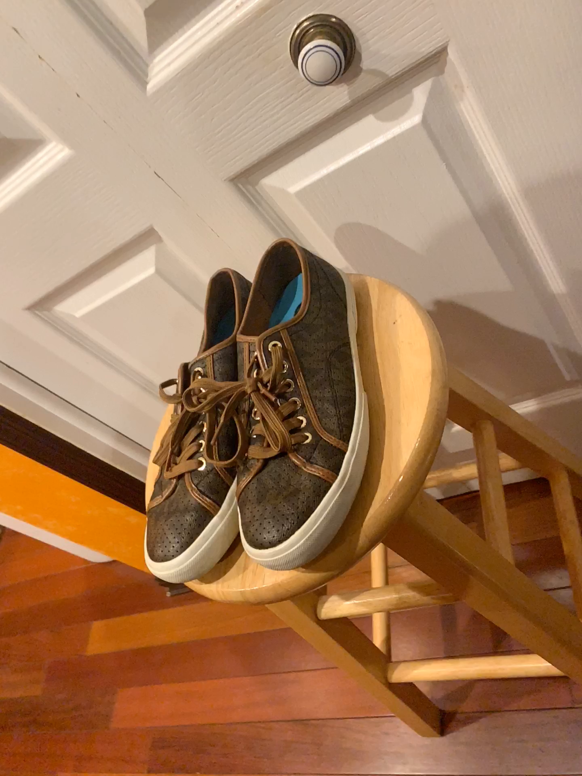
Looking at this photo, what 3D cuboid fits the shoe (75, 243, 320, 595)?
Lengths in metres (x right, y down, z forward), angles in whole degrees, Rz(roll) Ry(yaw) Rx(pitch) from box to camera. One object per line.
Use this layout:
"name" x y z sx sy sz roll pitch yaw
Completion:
"shoe" -0.064 0.022 0.489 0.101 0.089 0.260 -12 52 36

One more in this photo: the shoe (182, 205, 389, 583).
"shoe" 0.008 -0.002 0.445 0.101 0.079 0.260 -18 49 32
